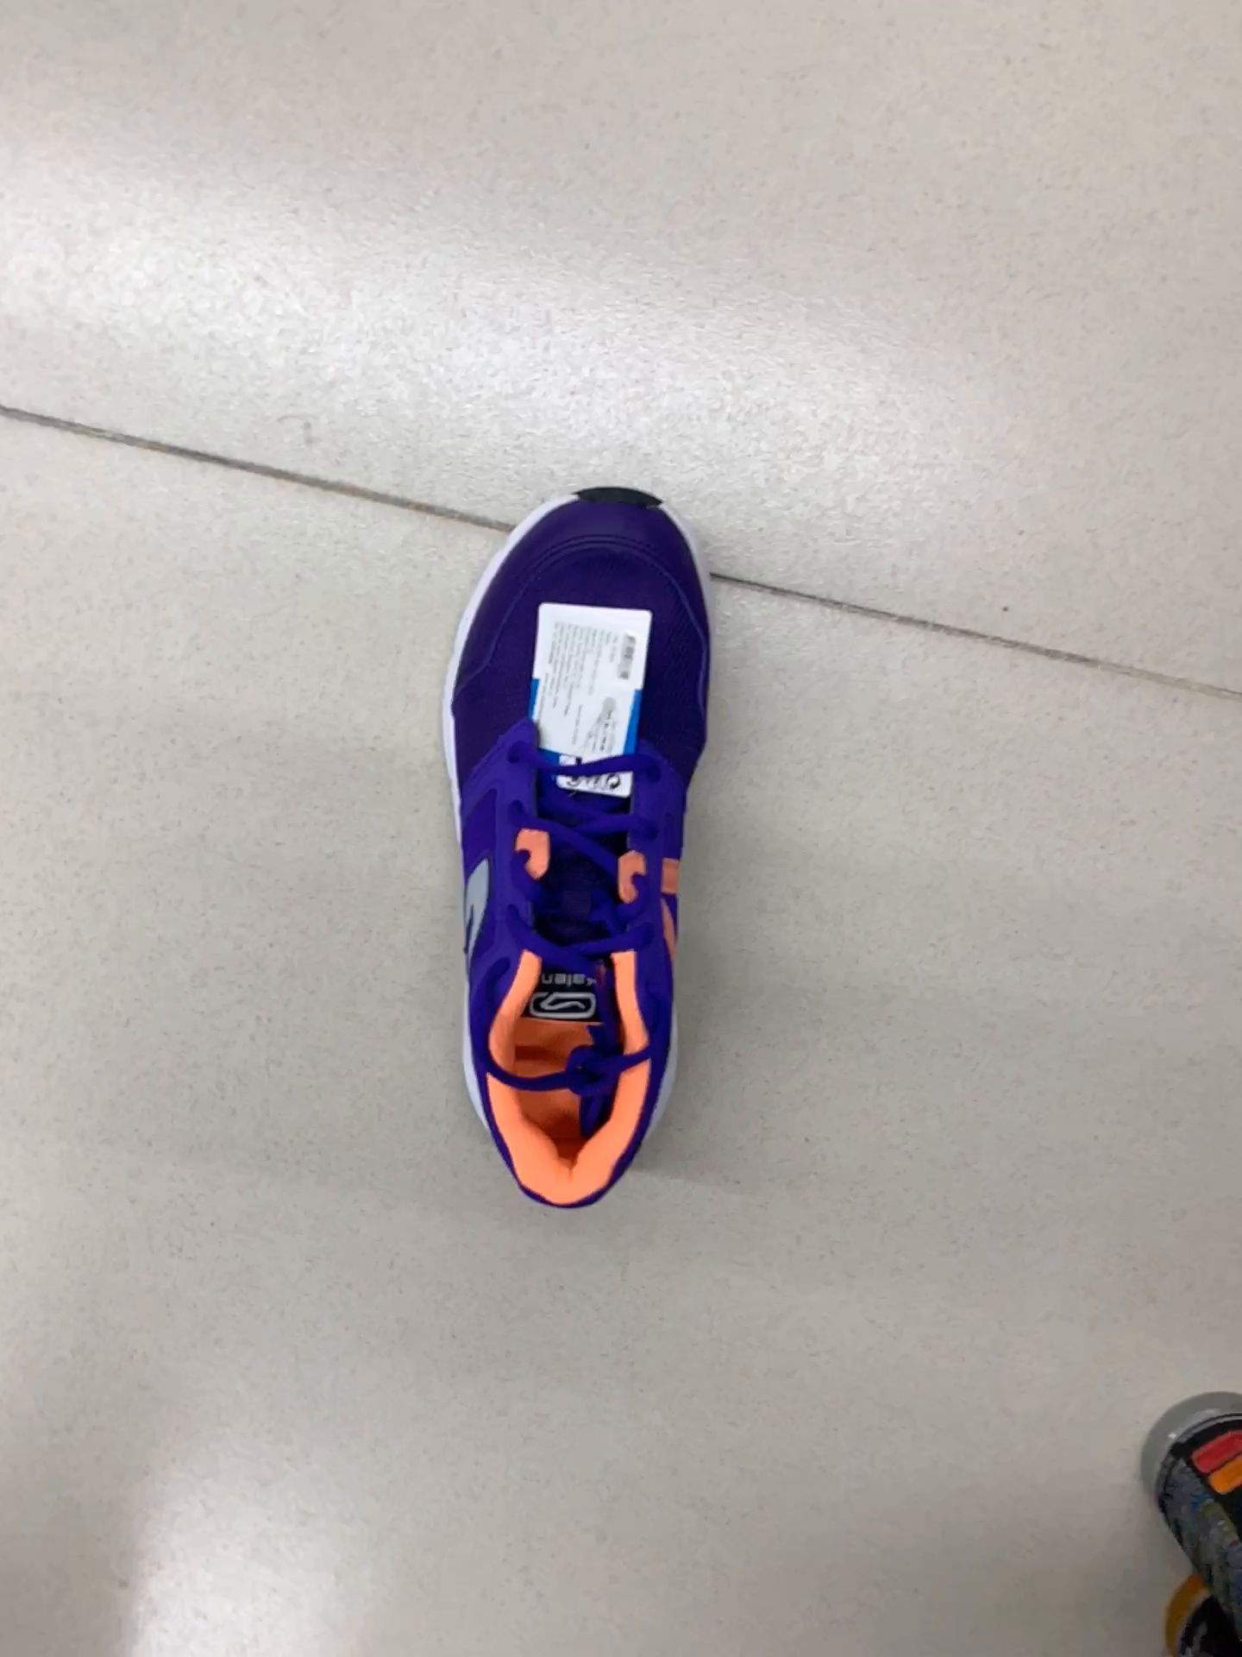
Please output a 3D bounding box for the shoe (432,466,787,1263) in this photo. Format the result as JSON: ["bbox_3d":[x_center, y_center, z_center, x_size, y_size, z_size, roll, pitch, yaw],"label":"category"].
[{"bbox_3d":[-0.009,0.010,0.441,0.100,0.100,0.250,2,101,-3],"label":"shoe"}]
